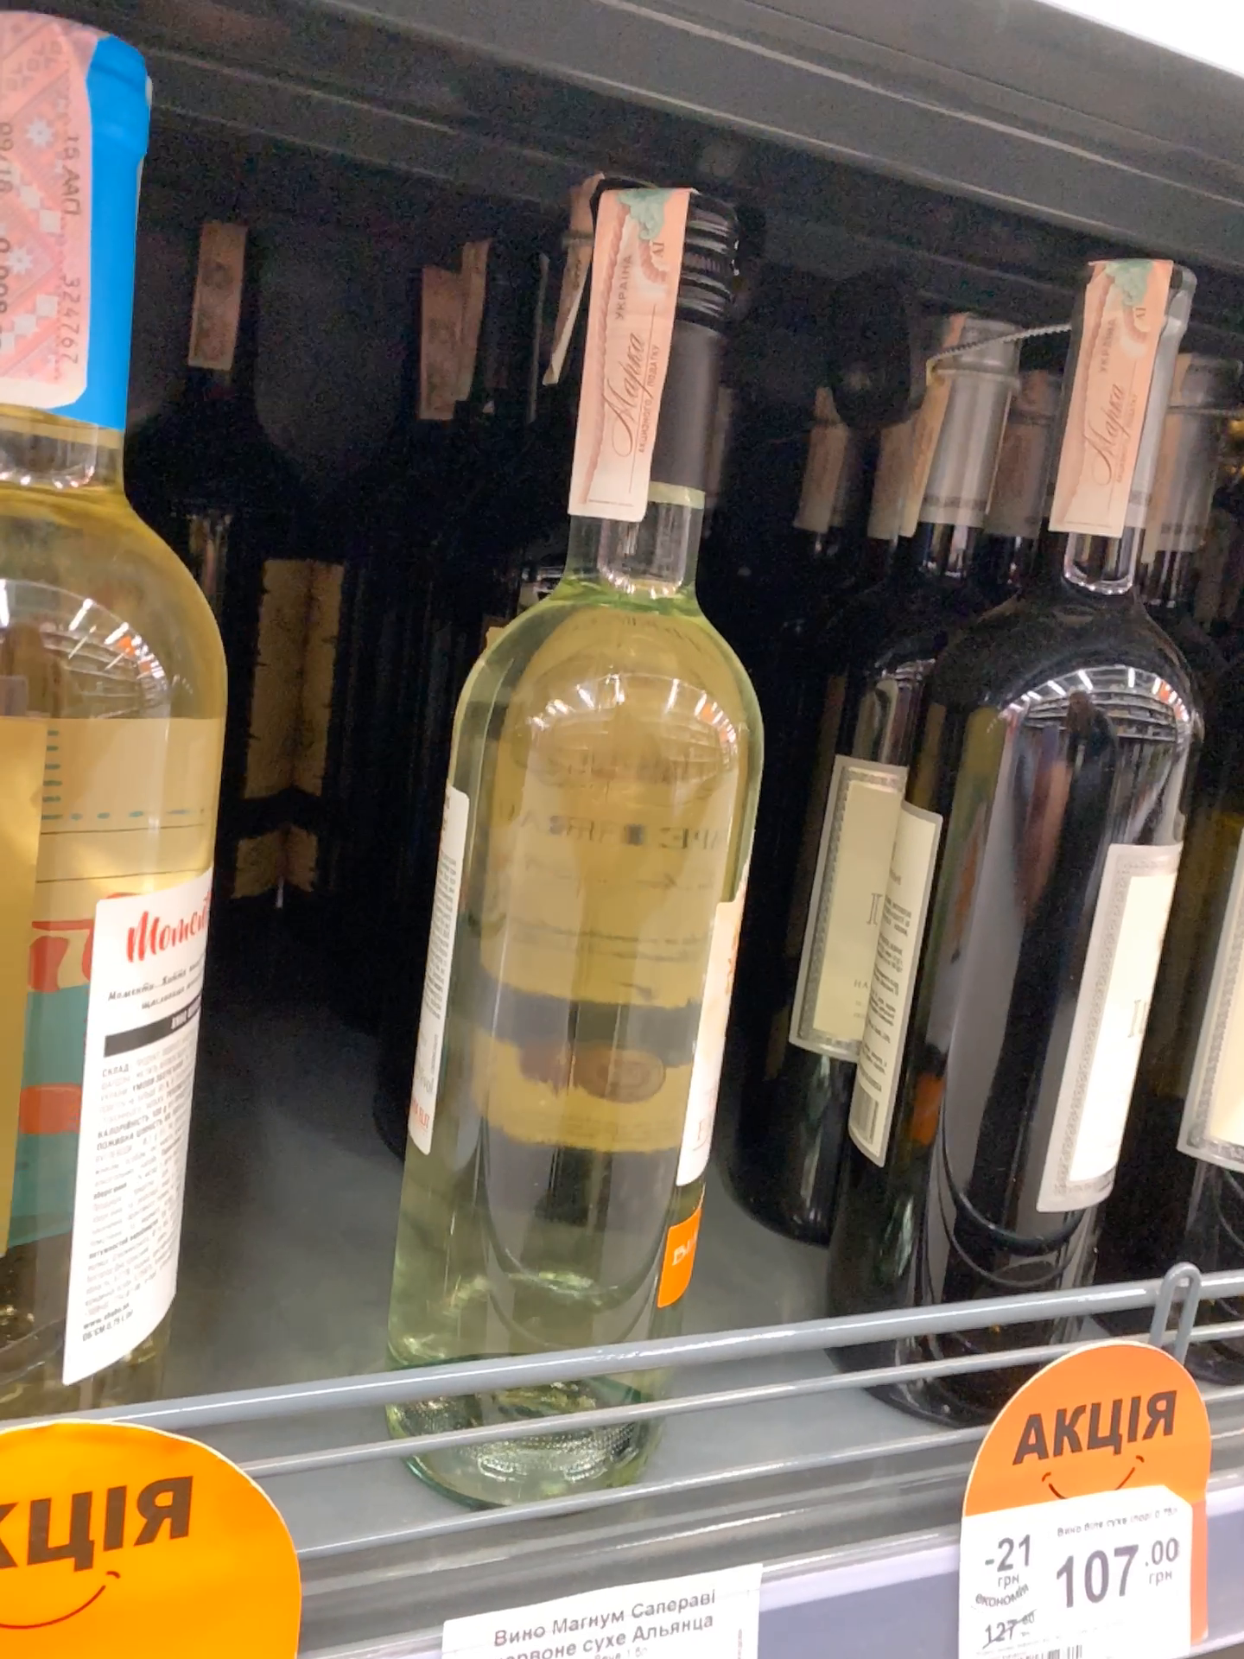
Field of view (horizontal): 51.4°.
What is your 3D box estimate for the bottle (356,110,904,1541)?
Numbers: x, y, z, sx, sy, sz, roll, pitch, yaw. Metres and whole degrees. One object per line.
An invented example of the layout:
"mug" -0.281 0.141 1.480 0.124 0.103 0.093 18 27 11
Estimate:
"bottle" -0.006 0.010 0.299 0.070 0.294 0.070 8 12 -2
